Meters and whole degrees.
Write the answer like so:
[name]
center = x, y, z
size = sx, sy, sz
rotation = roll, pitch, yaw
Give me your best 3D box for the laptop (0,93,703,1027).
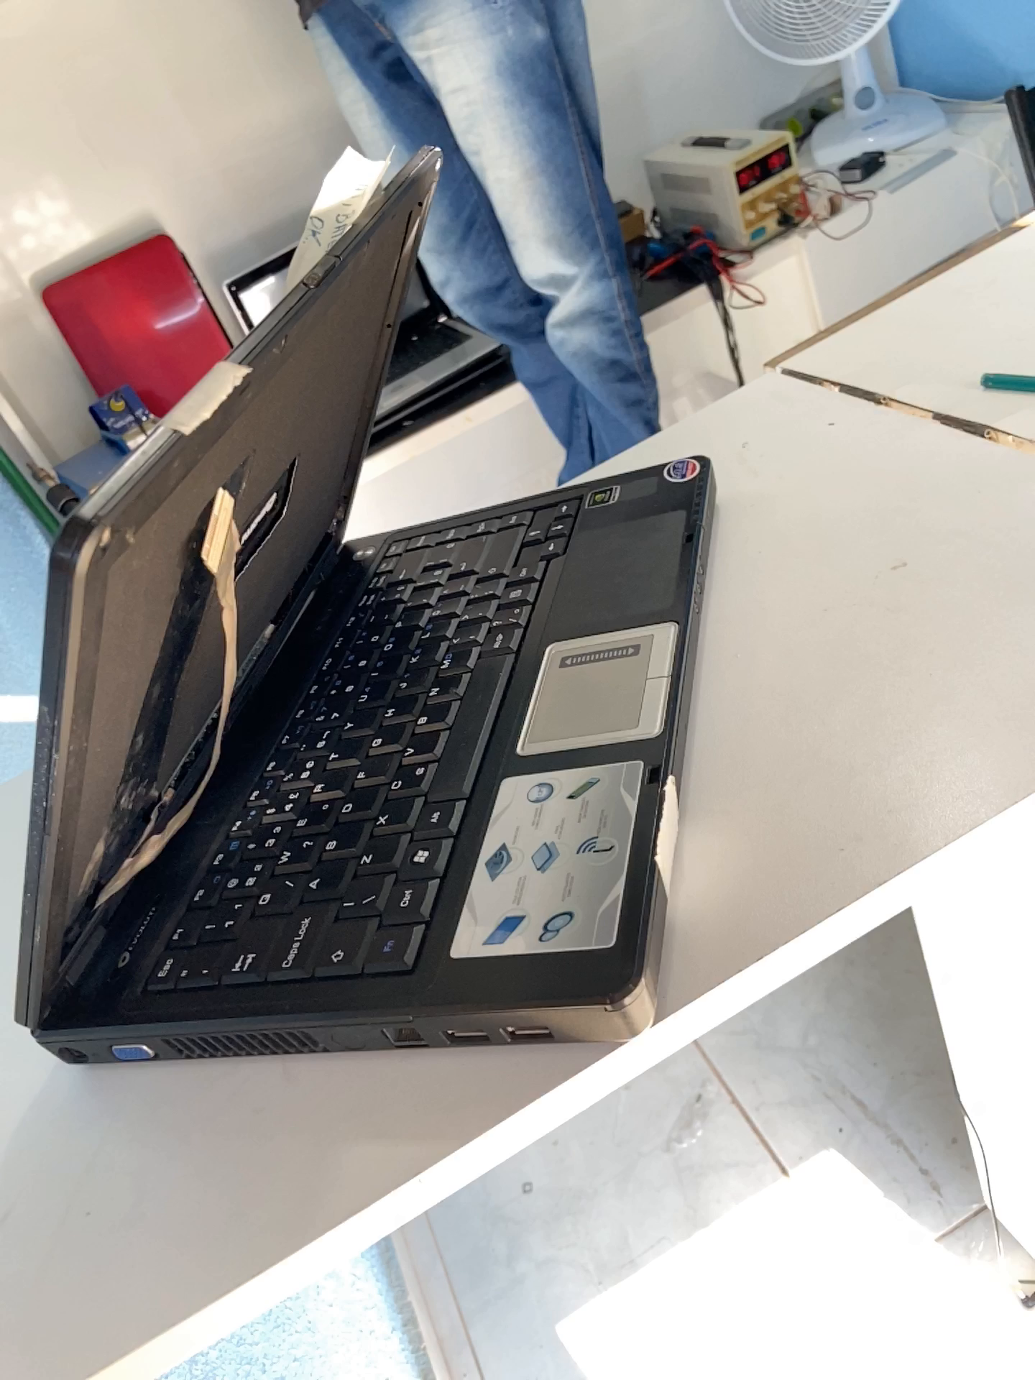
[laptop]
center = -0.070, -0.066, 0.421
size = 0.224, 0.175, 0.330
rotation = -11, 36, 23
